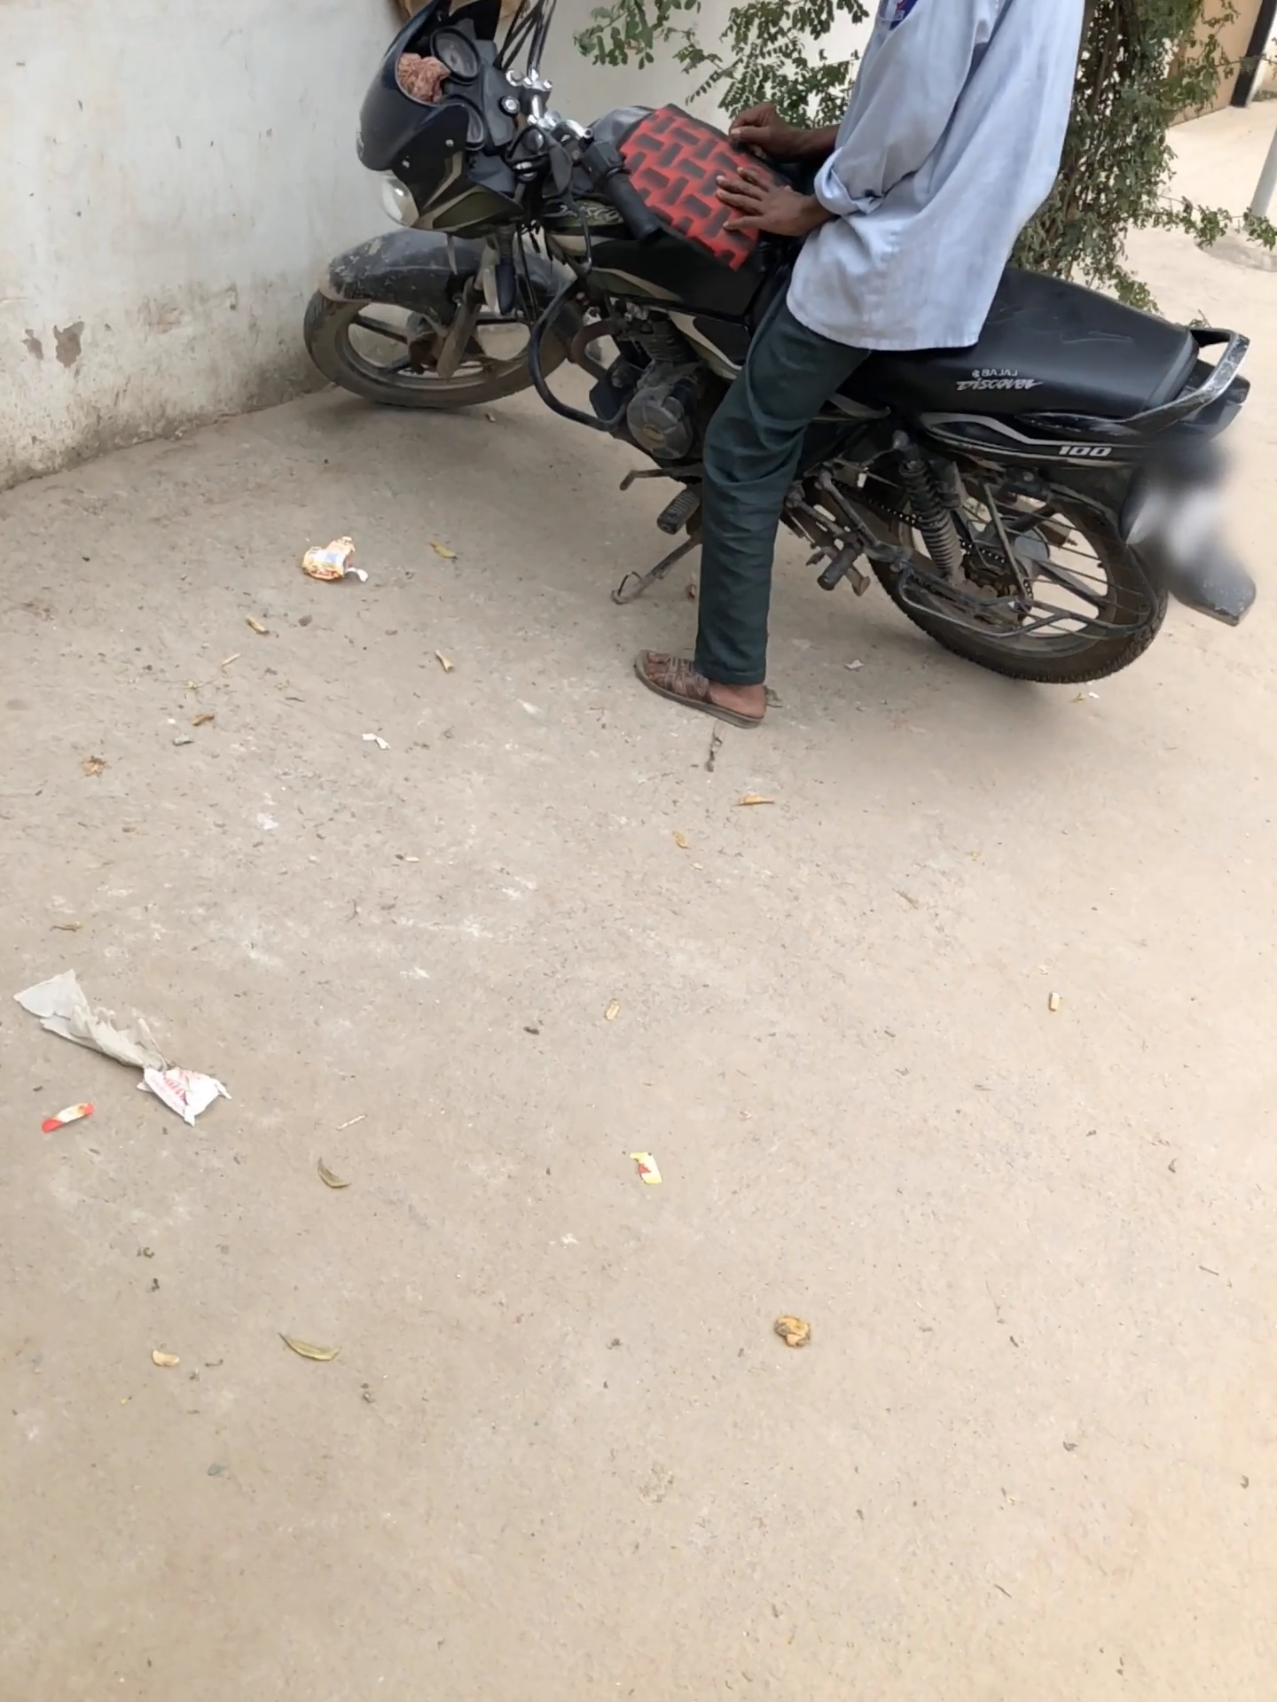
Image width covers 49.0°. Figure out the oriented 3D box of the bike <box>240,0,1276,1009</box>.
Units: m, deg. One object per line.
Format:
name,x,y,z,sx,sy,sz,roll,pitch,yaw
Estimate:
bike,0.203,-0.787,2.339,1.497,1.332,0.791,23,40,17
